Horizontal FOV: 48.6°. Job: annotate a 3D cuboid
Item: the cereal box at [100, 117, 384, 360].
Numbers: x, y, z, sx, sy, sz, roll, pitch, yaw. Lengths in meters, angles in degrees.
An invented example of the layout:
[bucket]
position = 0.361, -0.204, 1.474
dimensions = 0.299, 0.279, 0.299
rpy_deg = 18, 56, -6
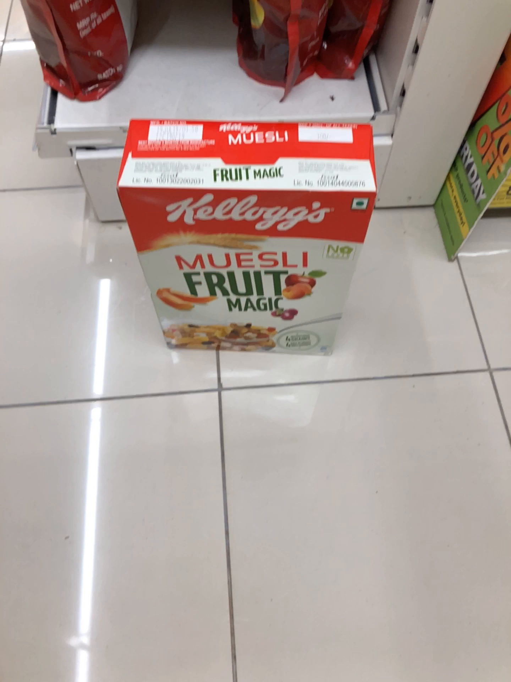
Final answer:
[cereal box]
position = -0.008, -0.072, 0.503
dimensions = 0.190, 0.239, 0.080
rpy_deg = 2, 63, 1
